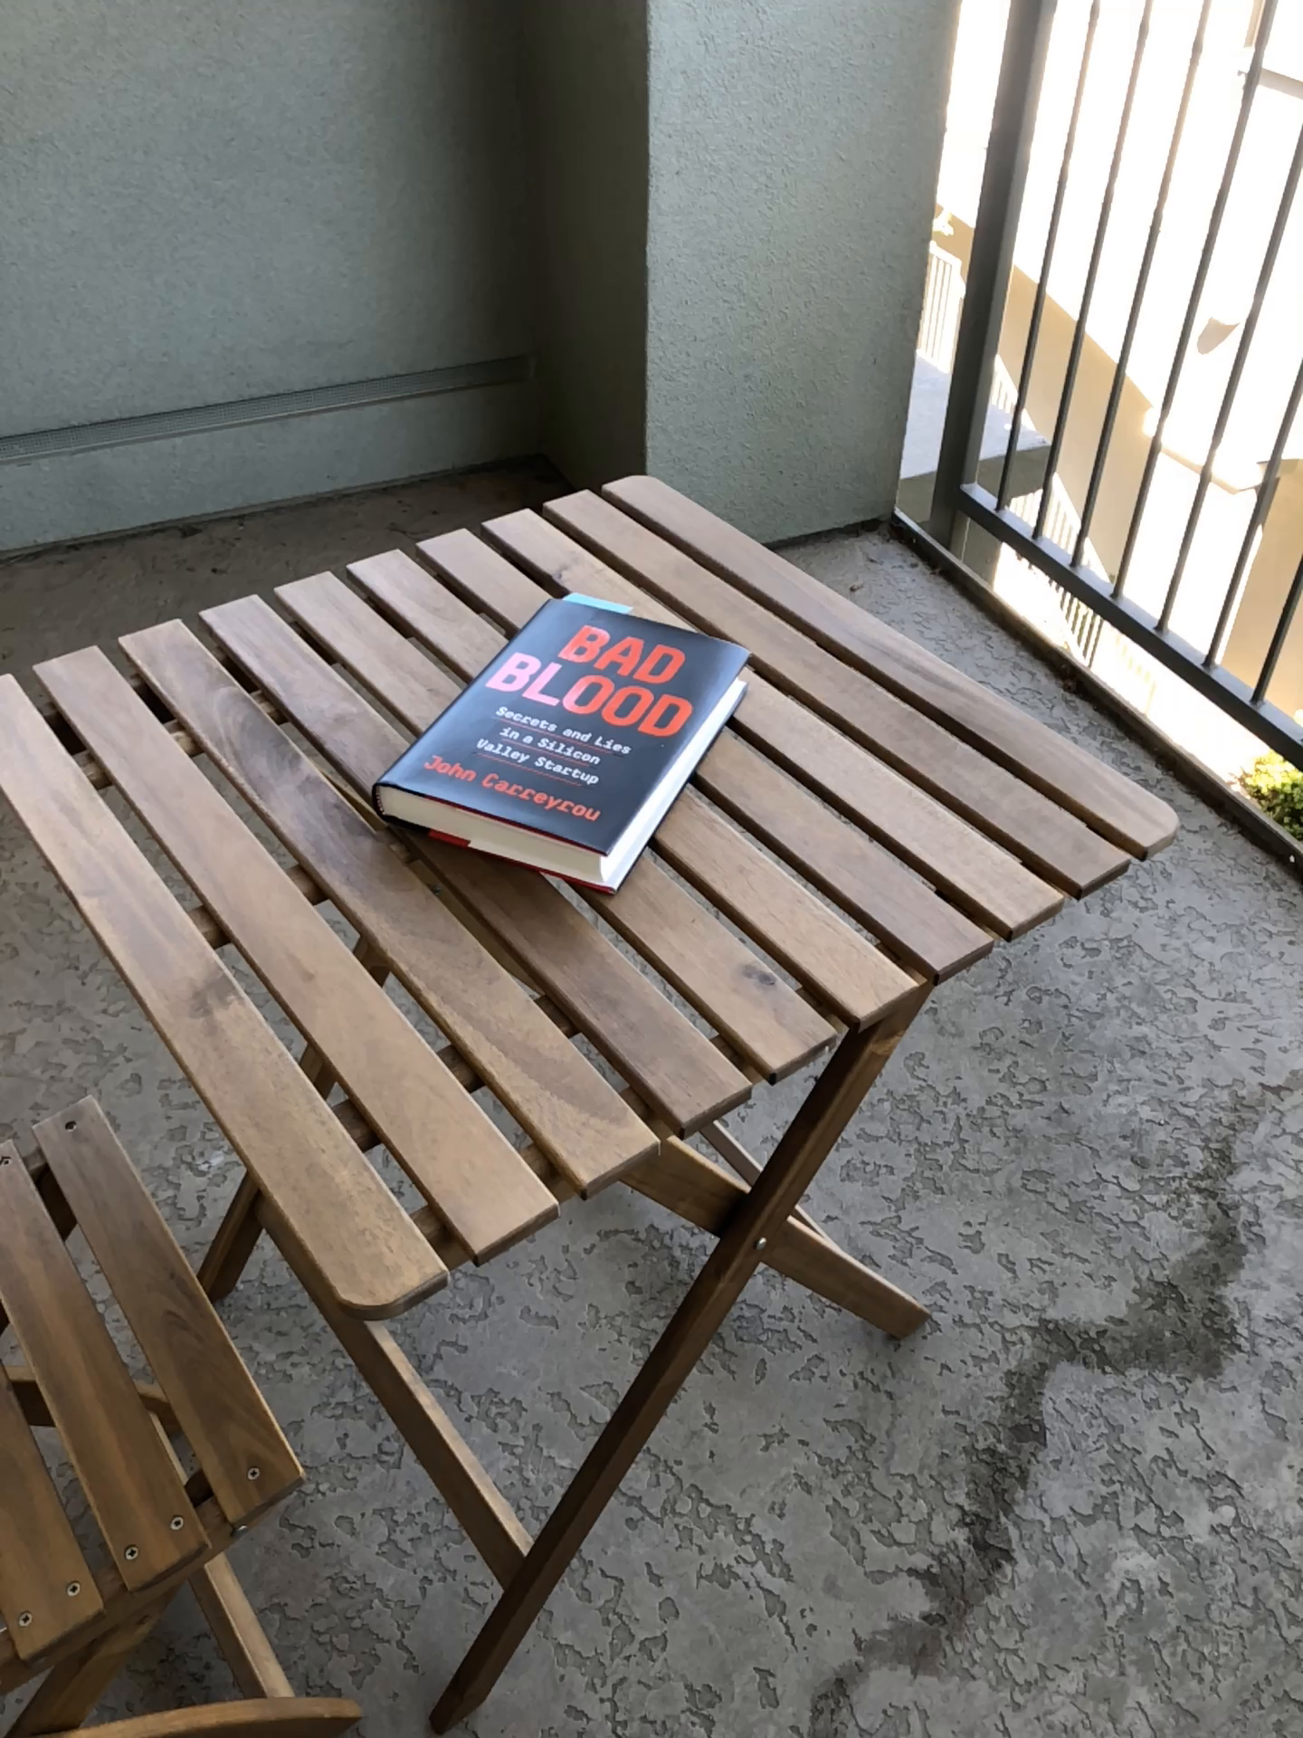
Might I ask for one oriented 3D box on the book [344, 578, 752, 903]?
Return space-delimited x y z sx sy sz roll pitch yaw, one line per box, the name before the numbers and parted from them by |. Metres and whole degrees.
book | -0.060 -0.096 0.961 0.180 0.050 0.241 16 44 16
